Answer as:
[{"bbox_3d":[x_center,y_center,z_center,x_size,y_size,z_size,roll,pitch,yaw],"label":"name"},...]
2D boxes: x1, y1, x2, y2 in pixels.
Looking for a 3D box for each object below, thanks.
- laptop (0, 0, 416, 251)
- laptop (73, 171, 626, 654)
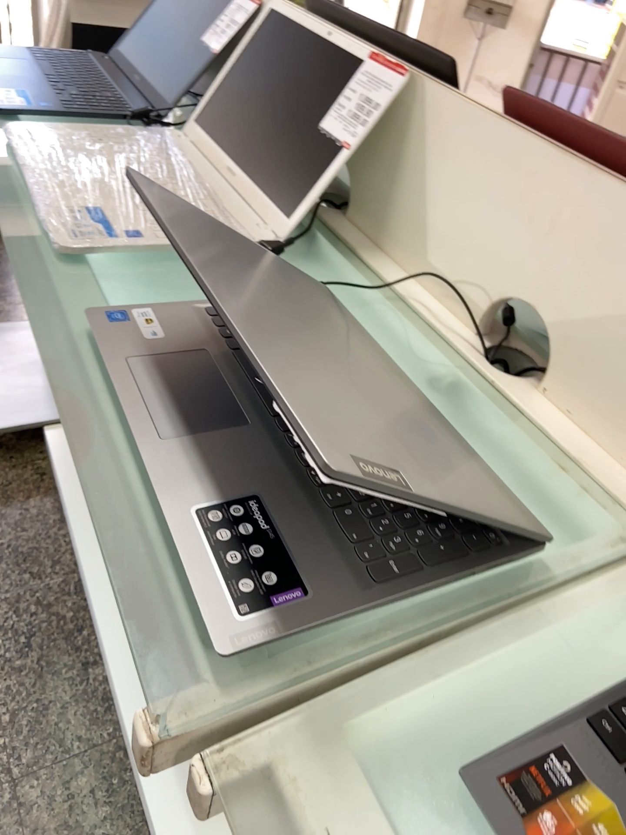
[{"bbox_3d":[-0.166,-0.401,0.822,0.384,0.202,0.411,-9,42,-25],"label":"laptop"},{"bbox_3d":[-0.011,-0.053,0.487,0.250,0.127,0.365,-10,43,-27],"label":"laptop"}]
